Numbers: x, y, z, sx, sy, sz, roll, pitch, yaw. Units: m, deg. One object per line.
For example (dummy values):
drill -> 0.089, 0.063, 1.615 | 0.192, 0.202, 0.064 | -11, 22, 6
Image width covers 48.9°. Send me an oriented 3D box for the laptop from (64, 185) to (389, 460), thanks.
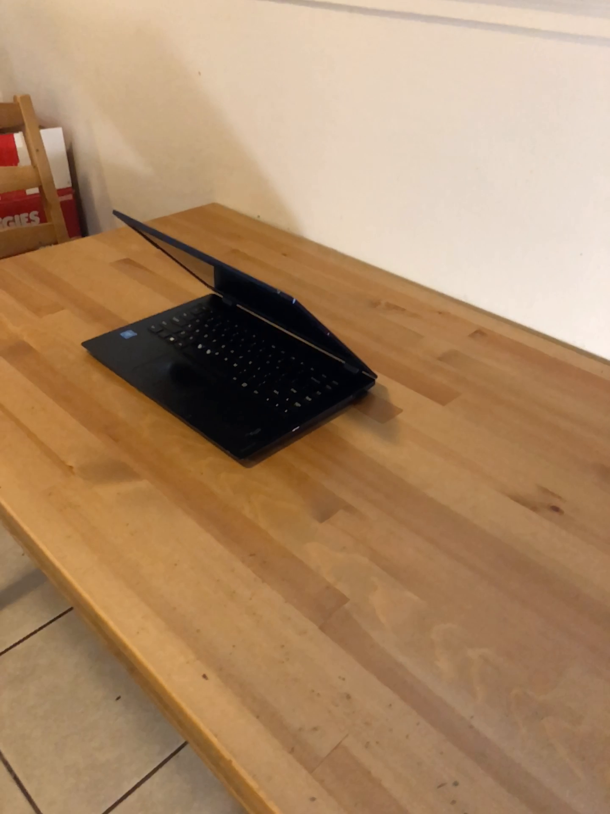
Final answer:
laptop -> -0.098, -0.123, 0.812 | 0.216, 0.161, 0.317 | -30, 47, -35
